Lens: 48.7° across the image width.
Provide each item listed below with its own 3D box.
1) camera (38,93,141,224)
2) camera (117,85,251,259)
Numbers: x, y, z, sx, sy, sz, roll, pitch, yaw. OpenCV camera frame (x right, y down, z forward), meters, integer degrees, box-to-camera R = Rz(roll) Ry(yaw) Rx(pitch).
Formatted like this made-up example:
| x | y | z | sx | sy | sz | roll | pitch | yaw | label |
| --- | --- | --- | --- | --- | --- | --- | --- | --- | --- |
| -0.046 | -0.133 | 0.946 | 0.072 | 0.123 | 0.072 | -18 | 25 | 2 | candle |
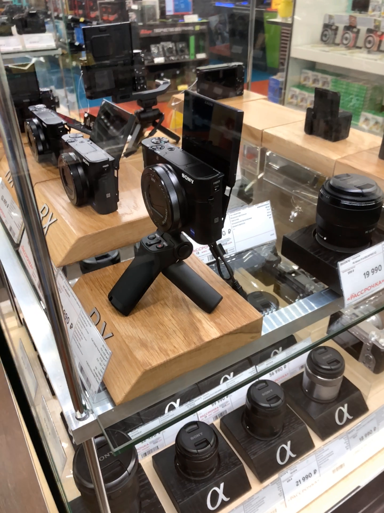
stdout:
| x | y | z | sx | sy | sz | roll | pitch | yaw | label |
| --- | --- | --- | --- | --- | --- | --- | --- | --- | --- |
| -0.111 | -0.110 | 0.462 | 0.065 | 0.102 | 0.103 | -19 | 38 | -25 | camera |
| -0.009 | -0.074 | 0.348 | 0.057 | 0.102 | 0.103 | -19 | 38 | -25 | camera |
